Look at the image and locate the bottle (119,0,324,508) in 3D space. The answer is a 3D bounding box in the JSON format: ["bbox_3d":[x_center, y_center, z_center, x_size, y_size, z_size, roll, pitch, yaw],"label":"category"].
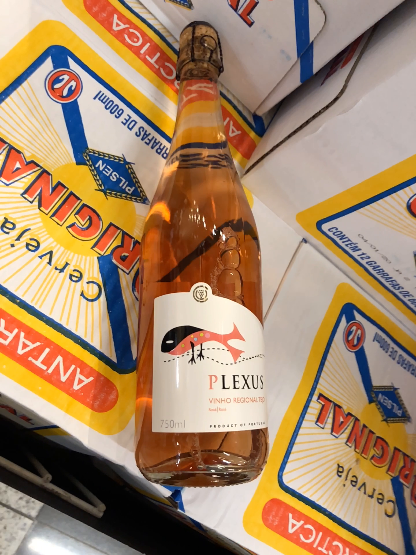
[{"bbox_3d":[0.005,-0.029,0.287,0.090,0.070,0.290,7,75,-27],"label":"bottle"}]
